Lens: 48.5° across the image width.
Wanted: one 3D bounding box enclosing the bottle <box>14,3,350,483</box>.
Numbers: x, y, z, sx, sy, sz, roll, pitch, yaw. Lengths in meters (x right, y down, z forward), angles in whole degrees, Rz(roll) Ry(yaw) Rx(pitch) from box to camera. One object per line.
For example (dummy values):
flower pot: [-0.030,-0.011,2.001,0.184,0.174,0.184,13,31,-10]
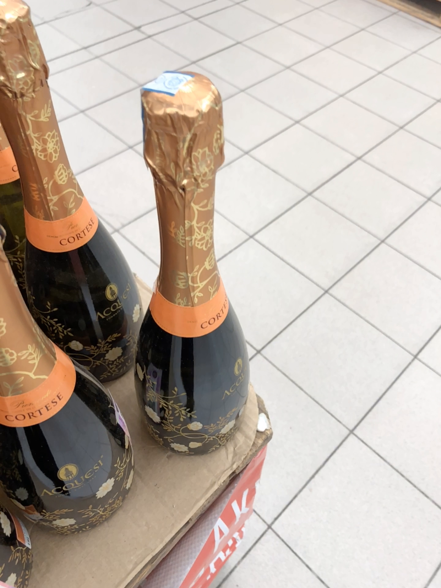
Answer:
bottle: [-0.020,0.008,0.327,0.100,0.318,0.100,2,52,-3]
